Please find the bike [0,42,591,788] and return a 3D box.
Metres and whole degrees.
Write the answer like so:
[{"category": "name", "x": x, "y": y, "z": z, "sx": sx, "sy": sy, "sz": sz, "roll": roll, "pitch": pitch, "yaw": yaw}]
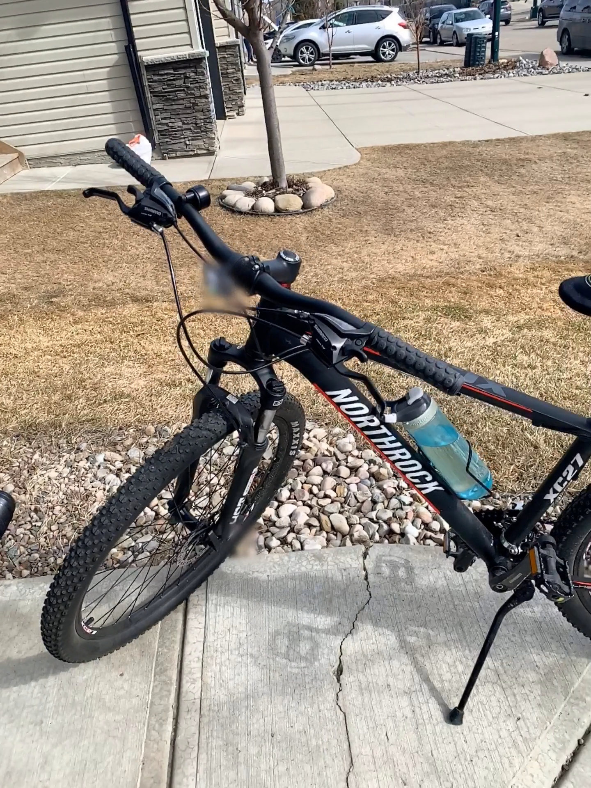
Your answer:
[{"category": "bike", "x": 0.283, "y": 0.196, "z": 0.925, "sx": 1.478, "sy": 1.005, "sz": 0.603, "roll": -4, "pitch": 31, "yaw": 10}]
